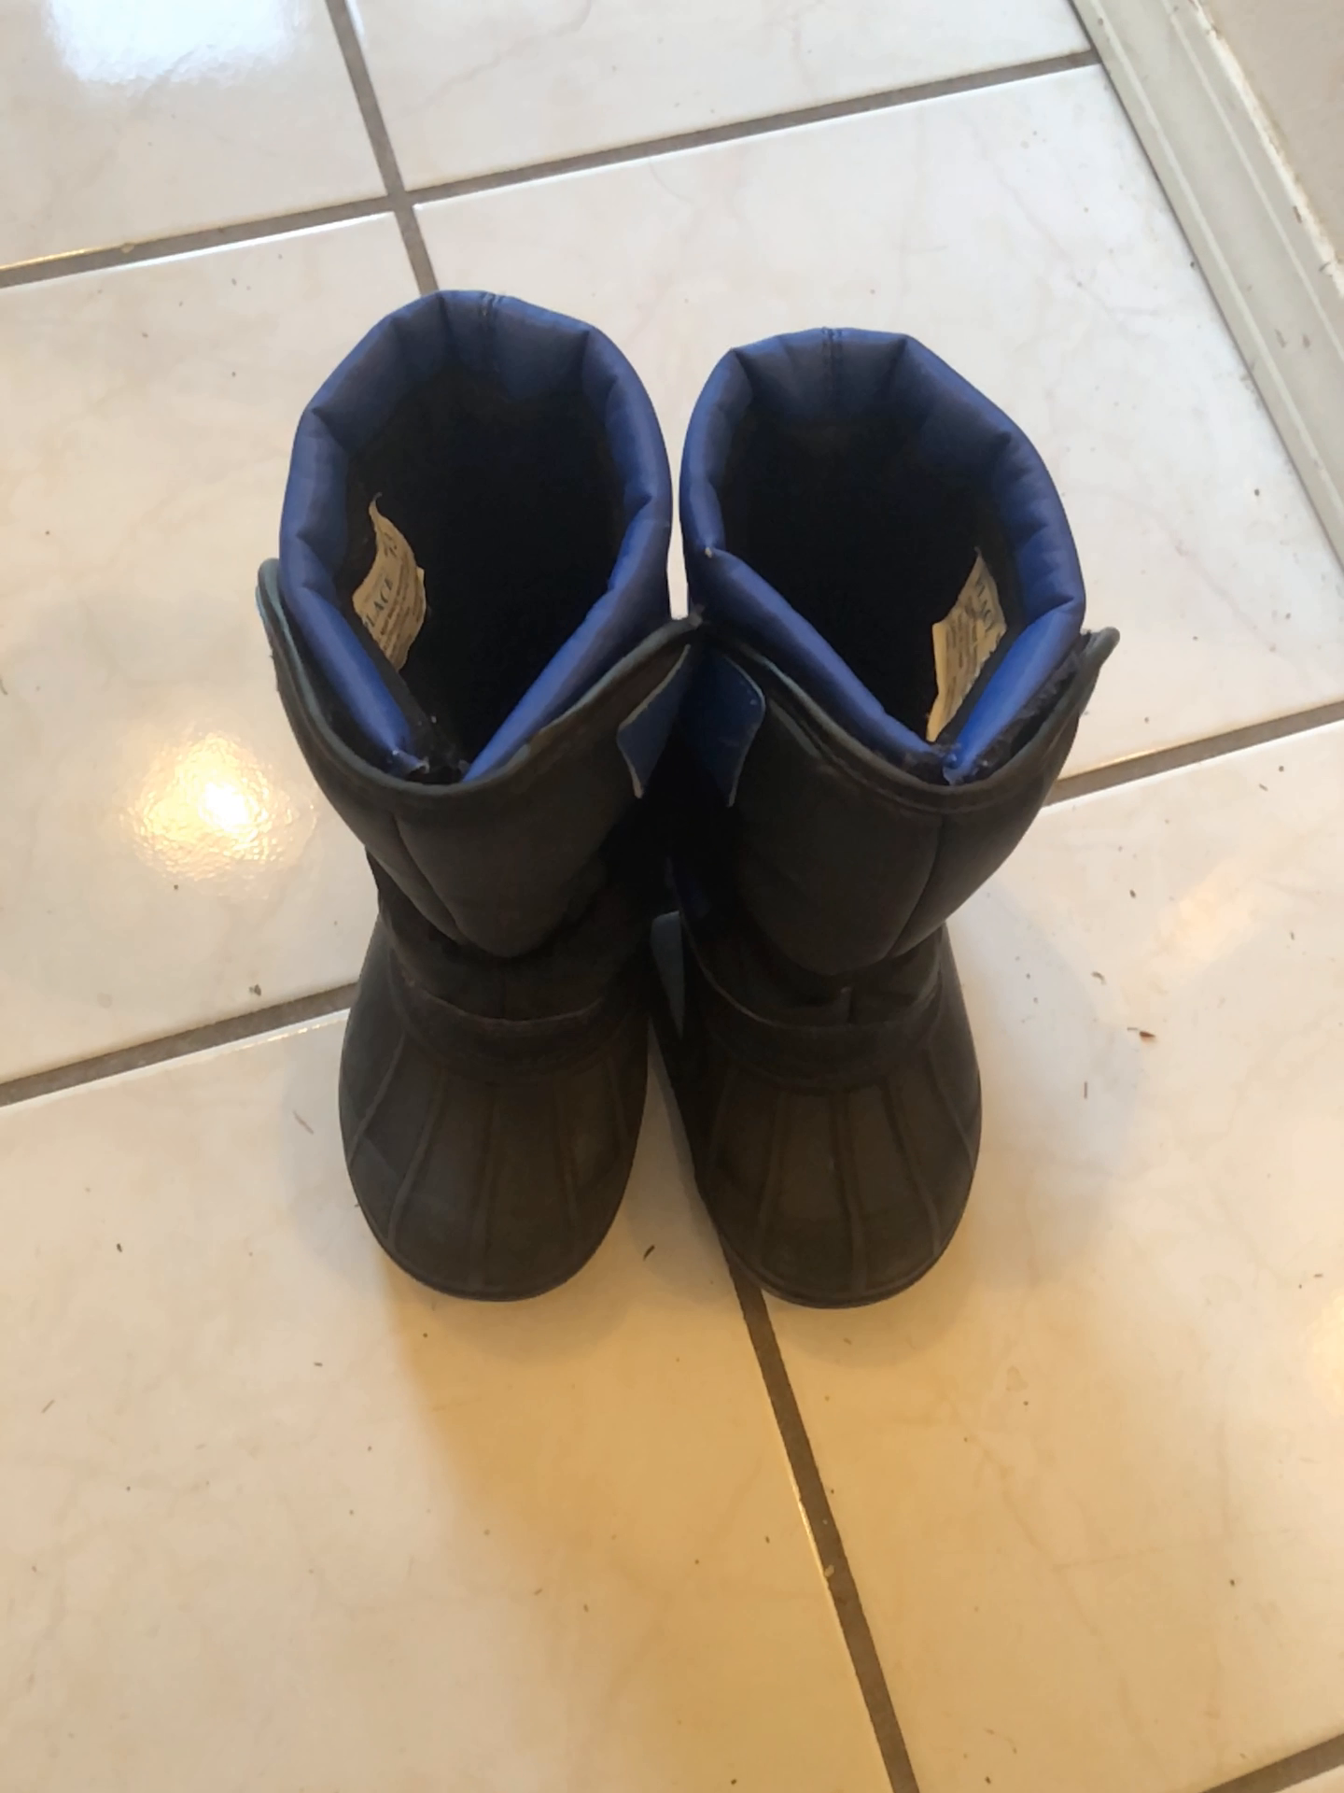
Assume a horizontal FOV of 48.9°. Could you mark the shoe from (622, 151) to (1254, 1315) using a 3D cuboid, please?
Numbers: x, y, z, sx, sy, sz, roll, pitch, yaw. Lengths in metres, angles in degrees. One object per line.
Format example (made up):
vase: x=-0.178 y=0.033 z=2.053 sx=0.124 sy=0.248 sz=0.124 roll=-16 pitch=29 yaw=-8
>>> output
shoe: x=0.044 y=-0.023 z=0.399 sx=0.100 sy=0.200 sz=0.250 roll=-2 pitch=73 yaw=-4

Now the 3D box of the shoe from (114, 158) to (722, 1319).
shoe: x=-0.050 y=-0.016 z=0.375 sx=0.100 sy=0.200 sz=0.230 roll=0 pitch=72 yaw=-3
